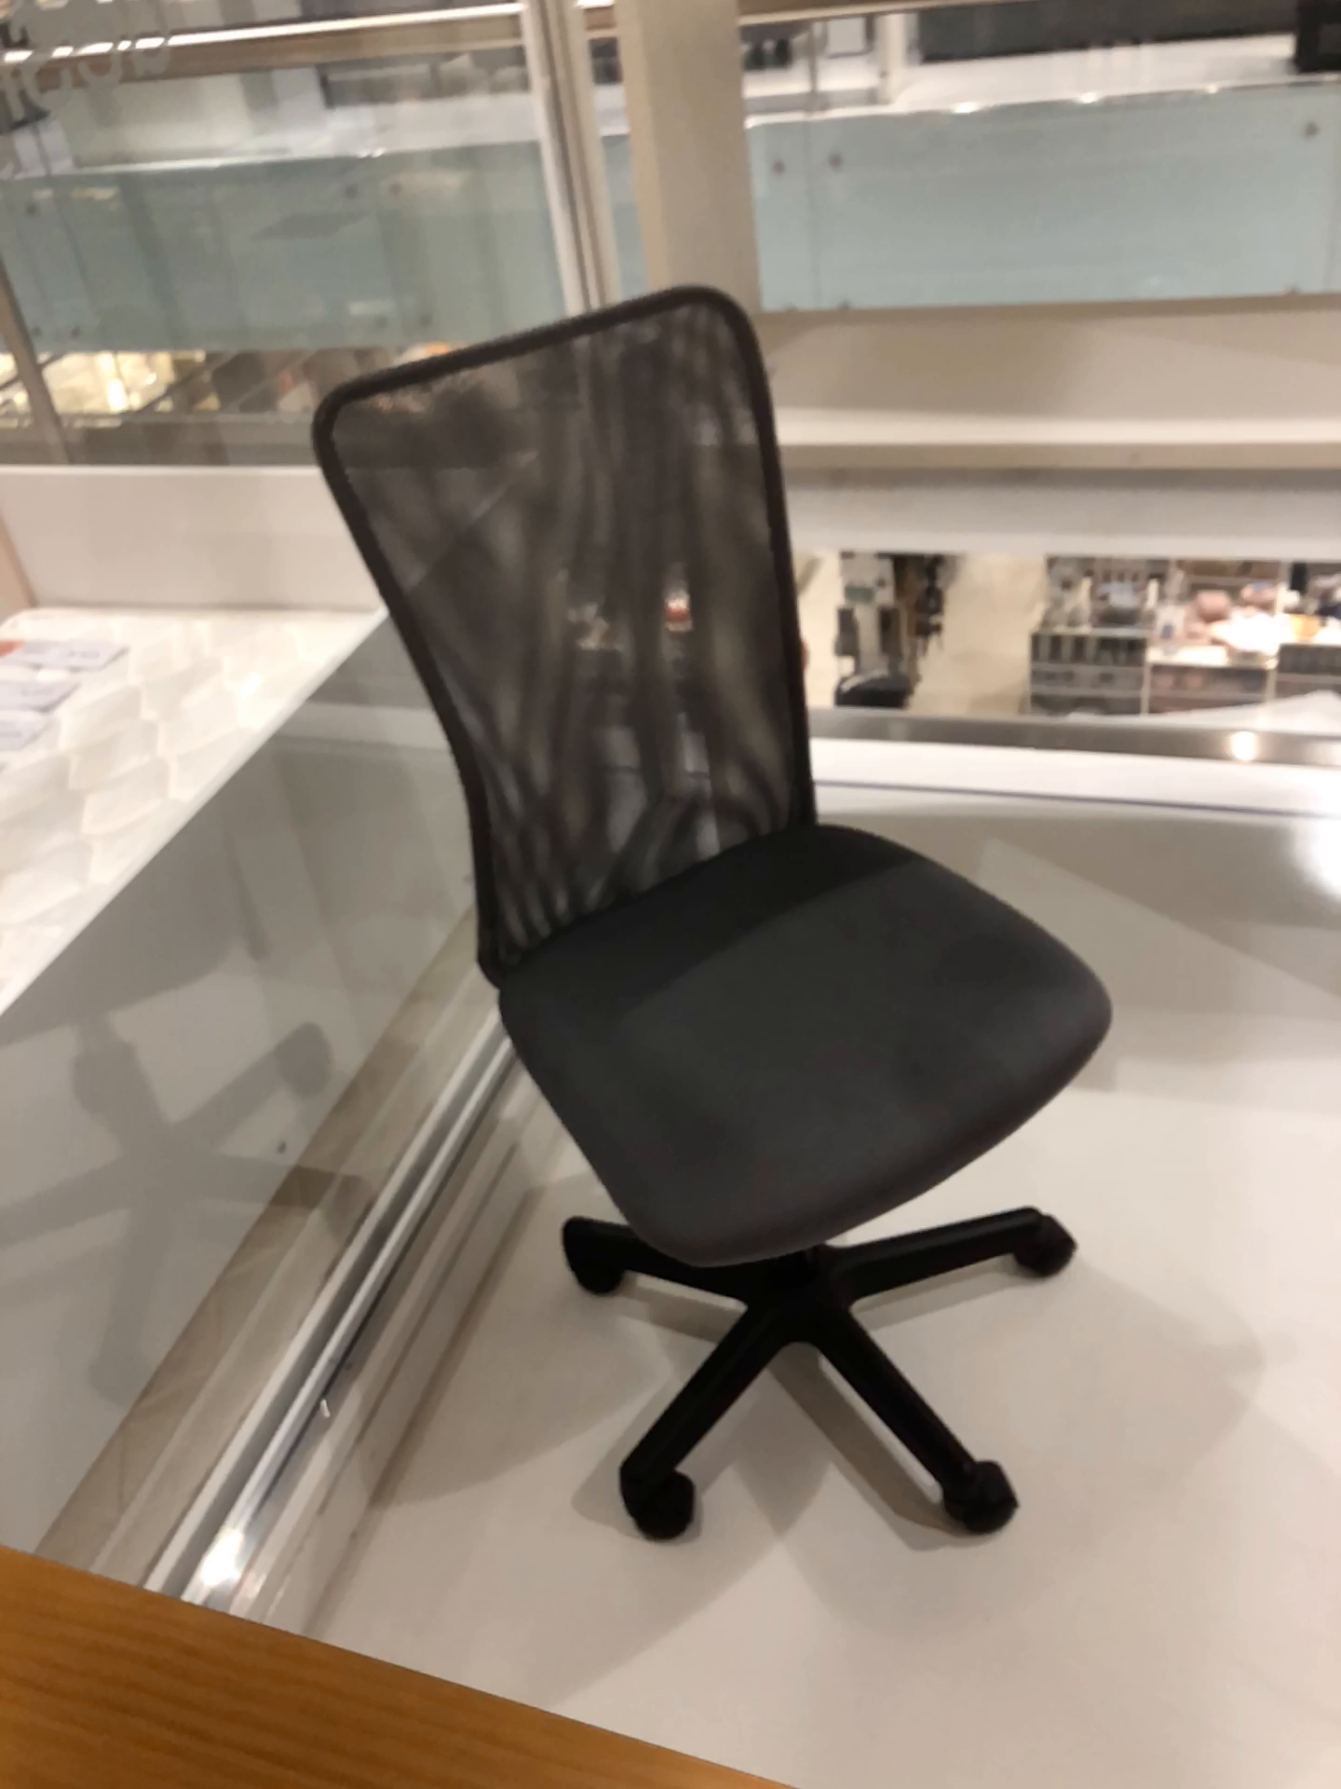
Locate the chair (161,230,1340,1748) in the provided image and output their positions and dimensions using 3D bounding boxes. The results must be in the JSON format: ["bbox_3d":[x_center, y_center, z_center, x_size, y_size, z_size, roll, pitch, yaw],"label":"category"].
[{"bbox_3d":[0.094,0.052,1.236,0.581,0.933,0.604,-26,39,-22],"label":"chair"}]
